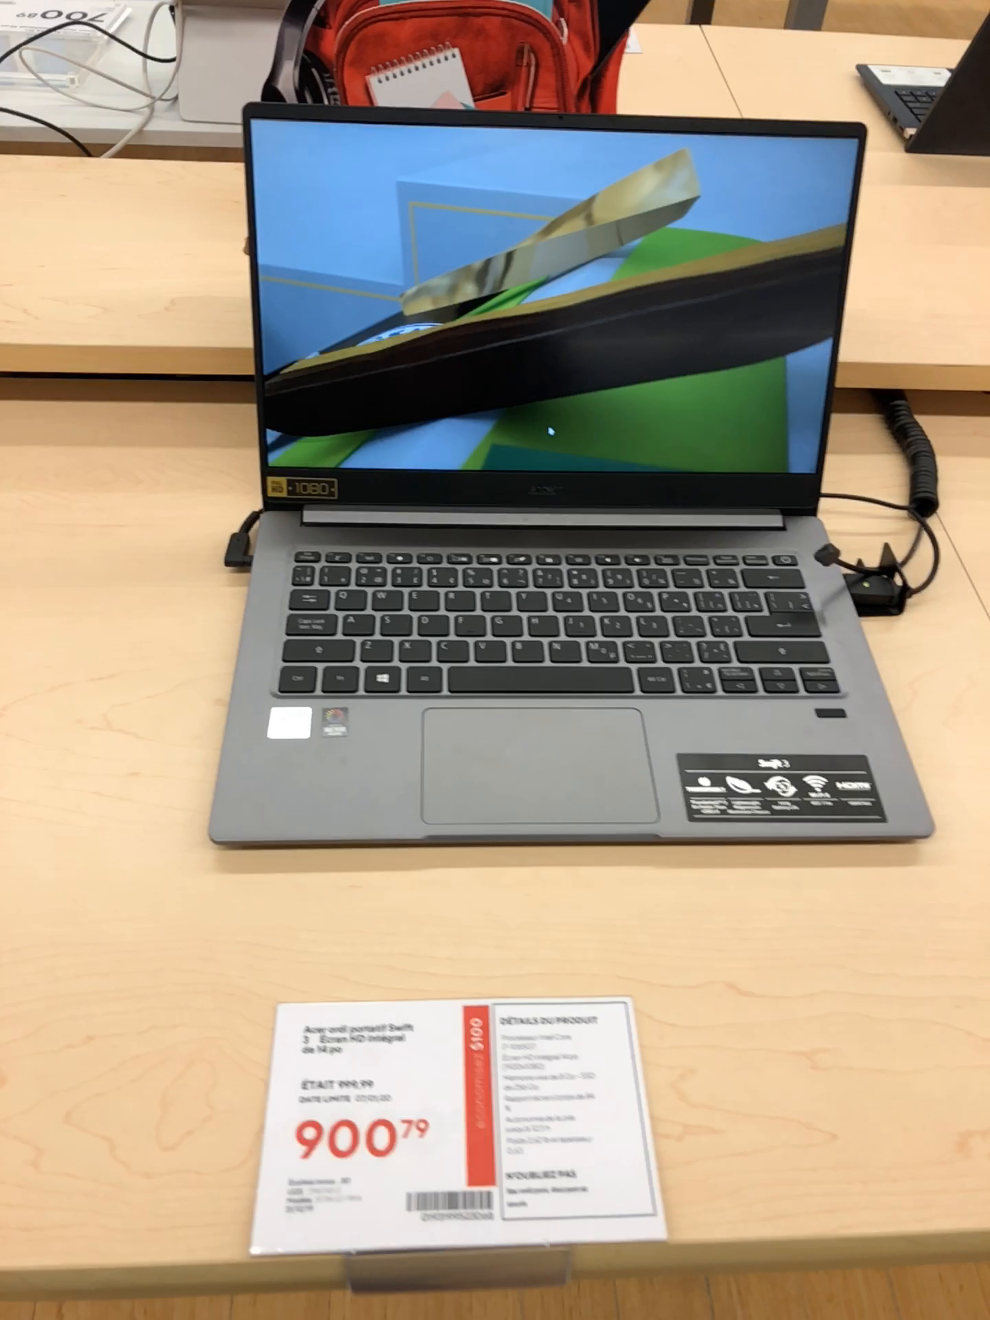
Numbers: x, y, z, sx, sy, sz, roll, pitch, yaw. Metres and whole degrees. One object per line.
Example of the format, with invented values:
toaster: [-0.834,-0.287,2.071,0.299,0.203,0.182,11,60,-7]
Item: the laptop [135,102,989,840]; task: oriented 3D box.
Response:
laptop: [0.036,-0.100,0.511,0.315,0.177,0.312,0,48,-4]
